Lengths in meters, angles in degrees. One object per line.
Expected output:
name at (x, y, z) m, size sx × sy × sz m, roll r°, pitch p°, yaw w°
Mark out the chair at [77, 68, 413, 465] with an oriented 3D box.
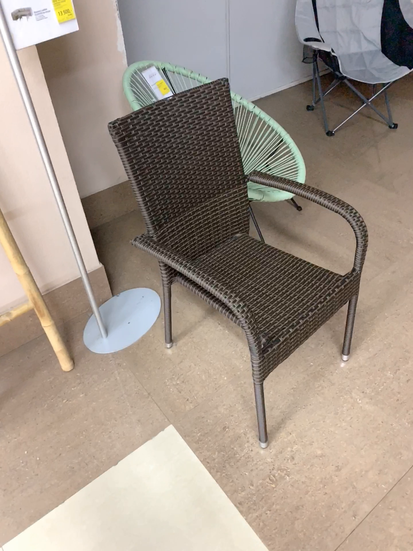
chair at (0.139, -0.040, 1.408) m, size 0.621 × 0.956 × 0.682 m, roll -34°, pitch 50°, yaw -29°
